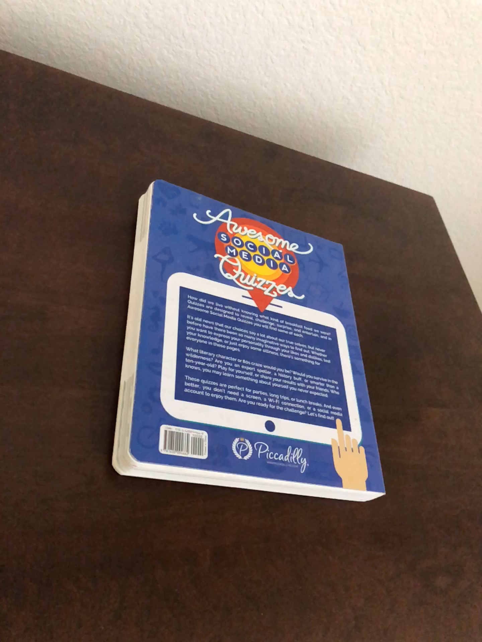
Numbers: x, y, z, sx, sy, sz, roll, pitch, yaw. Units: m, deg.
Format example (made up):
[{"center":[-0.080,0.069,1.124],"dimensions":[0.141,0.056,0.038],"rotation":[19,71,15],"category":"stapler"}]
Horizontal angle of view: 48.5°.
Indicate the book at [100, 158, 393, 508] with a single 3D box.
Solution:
[{"center":[0.007,0.005,0.359],"dimensions":[0.173,0.030,0.215],"rotation":[14,54,-25],"category":"book"}]
